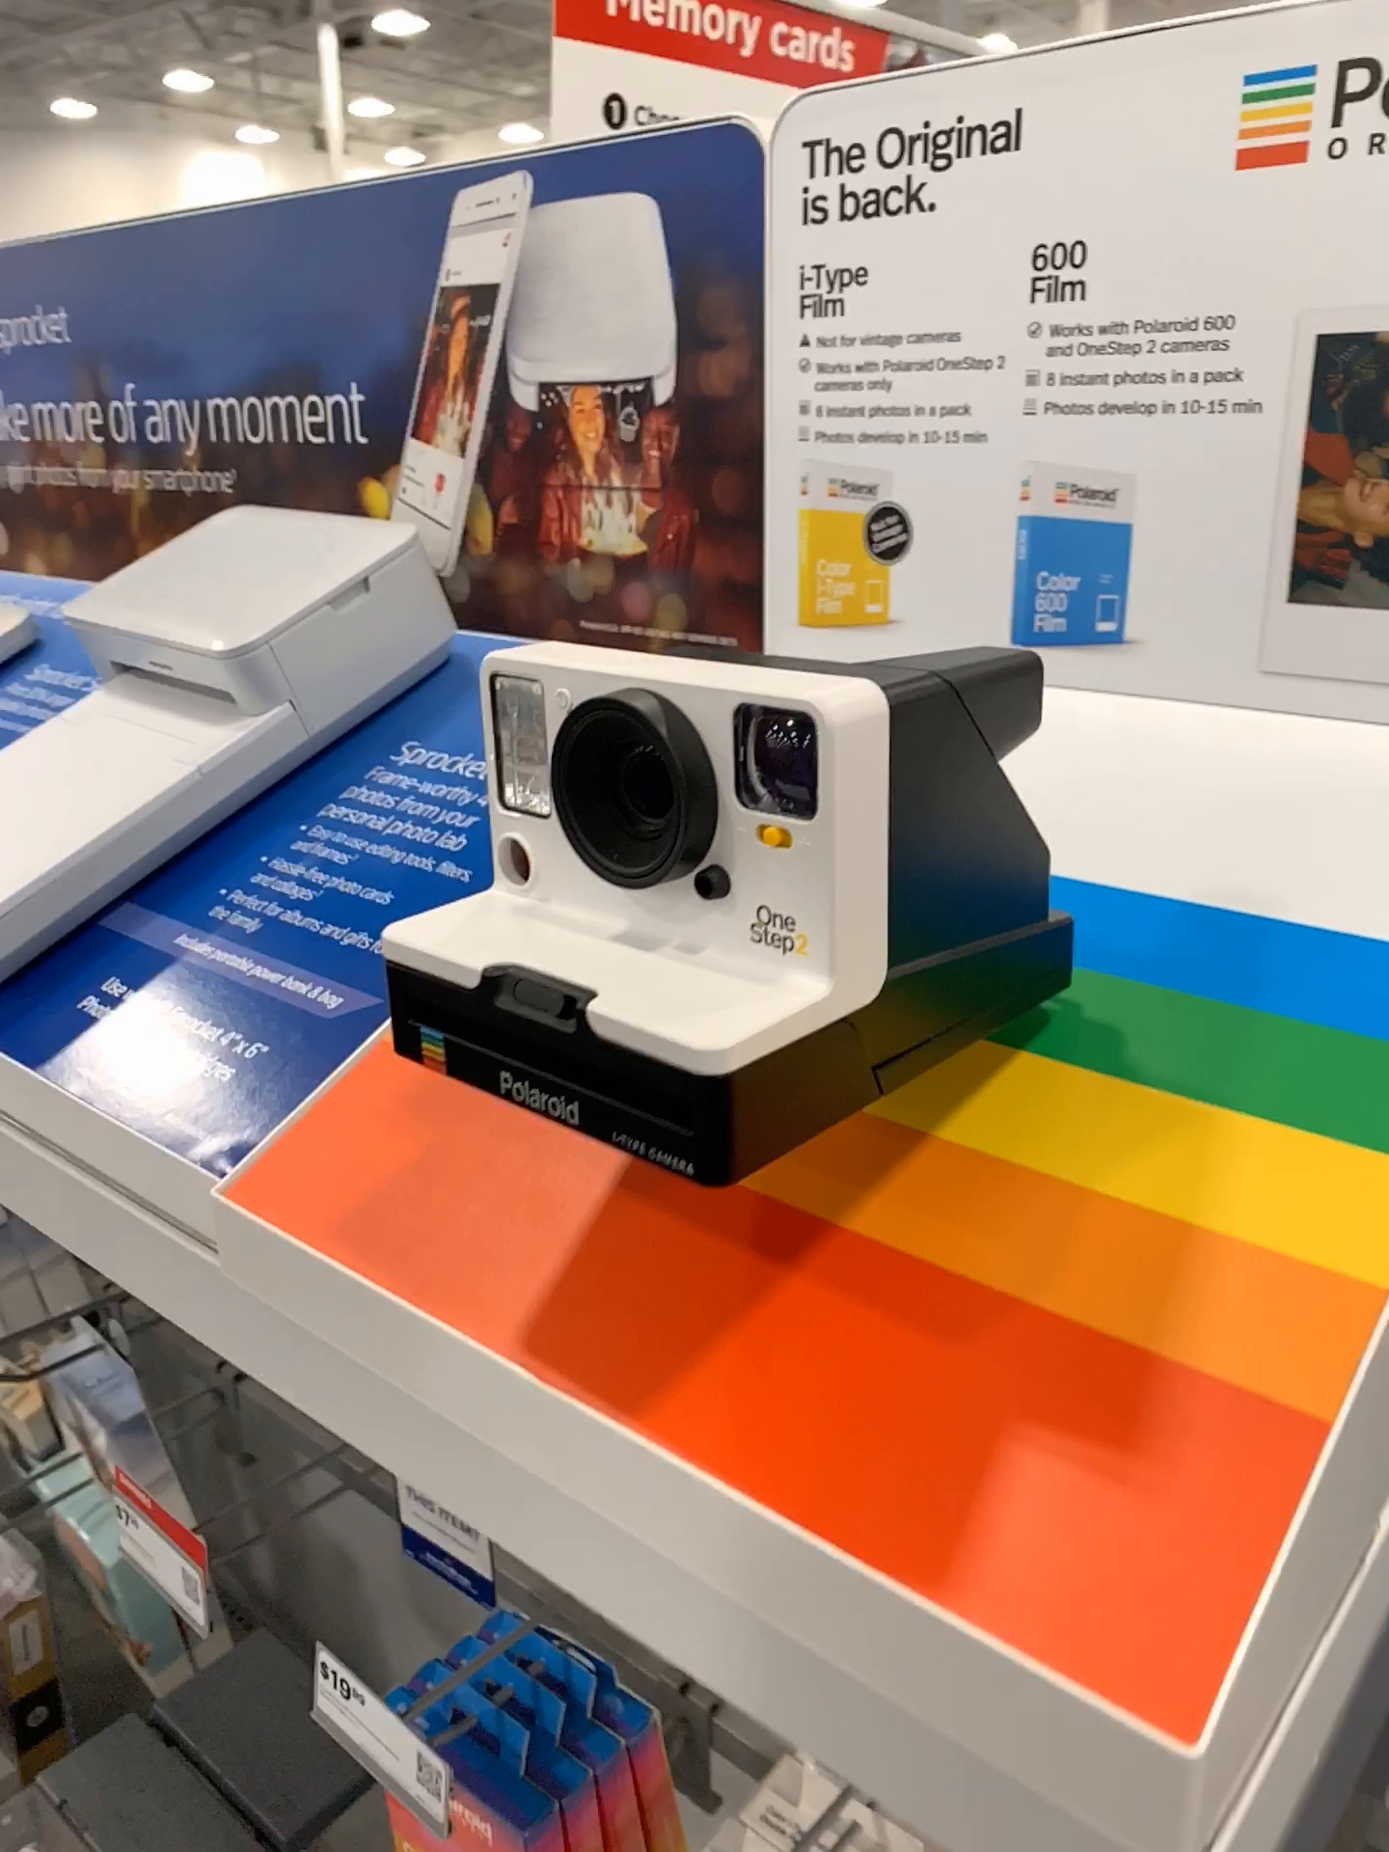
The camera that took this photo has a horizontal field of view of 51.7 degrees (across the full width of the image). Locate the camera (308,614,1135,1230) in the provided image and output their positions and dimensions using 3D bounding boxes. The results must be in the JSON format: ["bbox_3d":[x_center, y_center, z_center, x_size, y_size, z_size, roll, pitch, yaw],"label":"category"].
[{"bbox_3d":[0.011,-0.018,0.354,0.130,0.090,0.150,16,25,38],"label":"camera"}]
